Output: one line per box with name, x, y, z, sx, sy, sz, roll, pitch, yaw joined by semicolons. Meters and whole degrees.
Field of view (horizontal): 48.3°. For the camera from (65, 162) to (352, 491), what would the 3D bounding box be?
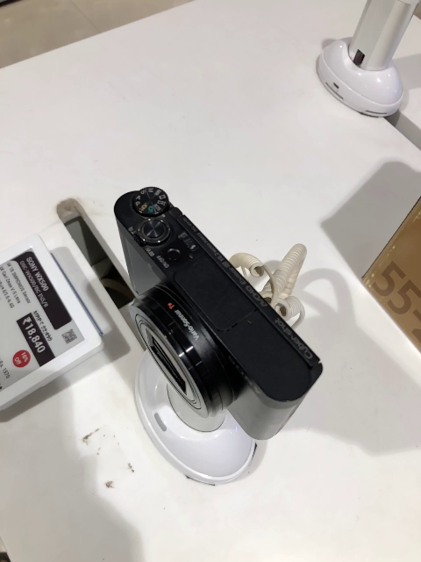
camera;-0.007;0.020;0.180;0.030;0.070;0.110;-33;68;-19
